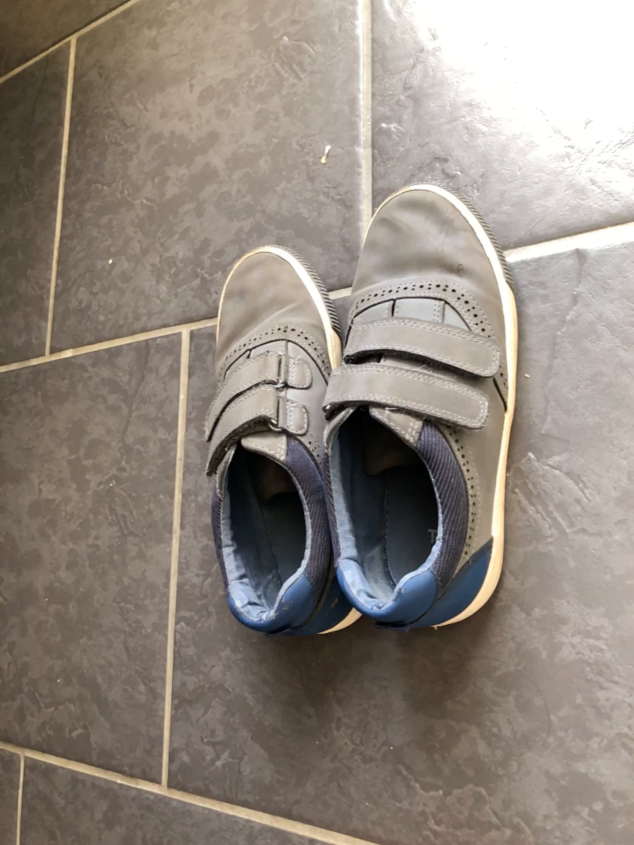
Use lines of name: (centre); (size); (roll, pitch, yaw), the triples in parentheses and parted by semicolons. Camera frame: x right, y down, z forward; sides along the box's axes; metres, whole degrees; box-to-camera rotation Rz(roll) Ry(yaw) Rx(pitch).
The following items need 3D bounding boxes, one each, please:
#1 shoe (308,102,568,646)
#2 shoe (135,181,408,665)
shoe: (0.059, -0.020, 0.367); (0.100, 0.070, 0.250); (-9, 76, 33)
shoe: (-0.034, 0.001, 0.413); (0.100, 0.070, 0.251); (-21, 70, 30)
